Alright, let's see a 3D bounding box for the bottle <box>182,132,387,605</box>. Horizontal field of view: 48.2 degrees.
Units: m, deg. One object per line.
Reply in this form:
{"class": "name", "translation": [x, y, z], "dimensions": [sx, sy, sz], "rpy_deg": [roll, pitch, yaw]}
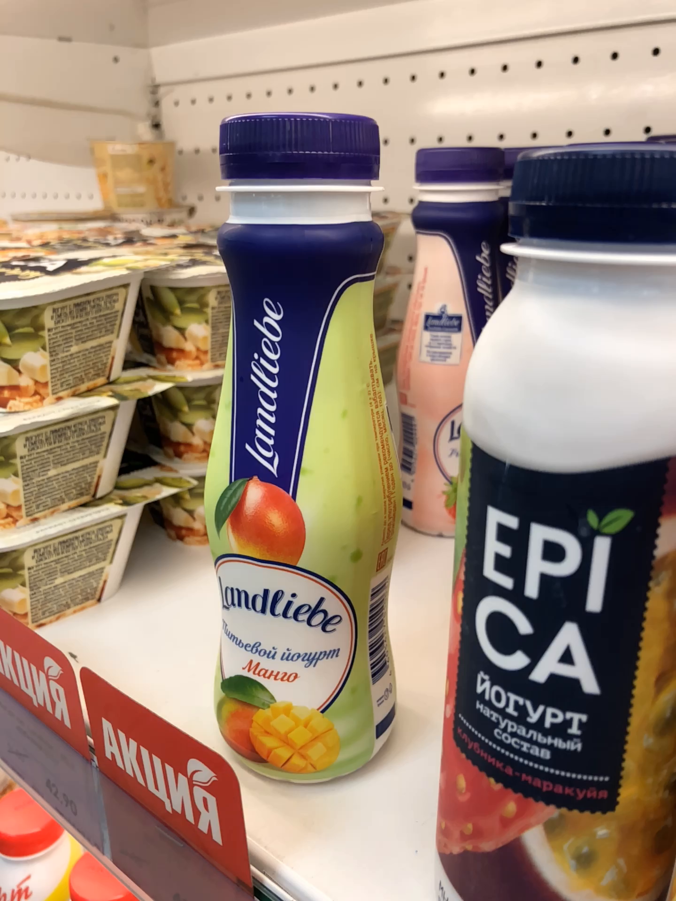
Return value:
{"class": "bottle", "translation": [-0.018, -0.034, 0.315], "dimensions": [0.057, 0.179, 0.054], "rpy_deg": [-1, 19, 0]}

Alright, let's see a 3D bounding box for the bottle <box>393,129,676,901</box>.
{"class": "bottle", "translation": [0.046, 0.030, 0.153], "dimensions": [0.051, 0.173, 0.048], "rpy_deg": [-1, 19, 0]}

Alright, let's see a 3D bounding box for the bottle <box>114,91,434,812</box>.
{"class": "bottle", "translation": [-0.012, 0.002, 0.210], "dimensions": [0.055, 0.177, 0.054], "rpy_deg": [-1, 19, 0]}
